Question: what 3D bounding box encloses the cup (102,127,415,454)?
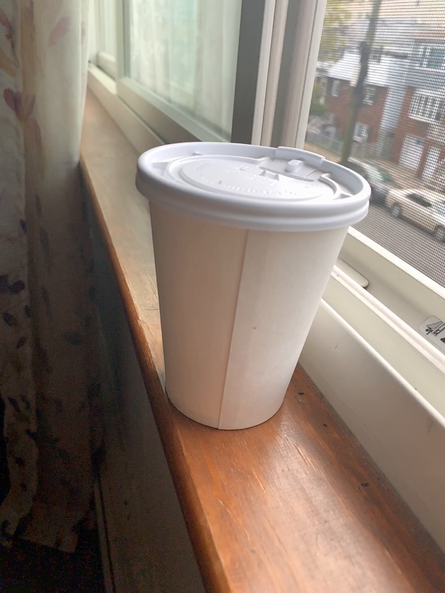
[{"bbox_3d":[0.008,-0.008,0.196,0.090,0.099,0.091,4,29,-2],"label":"cup"}]
